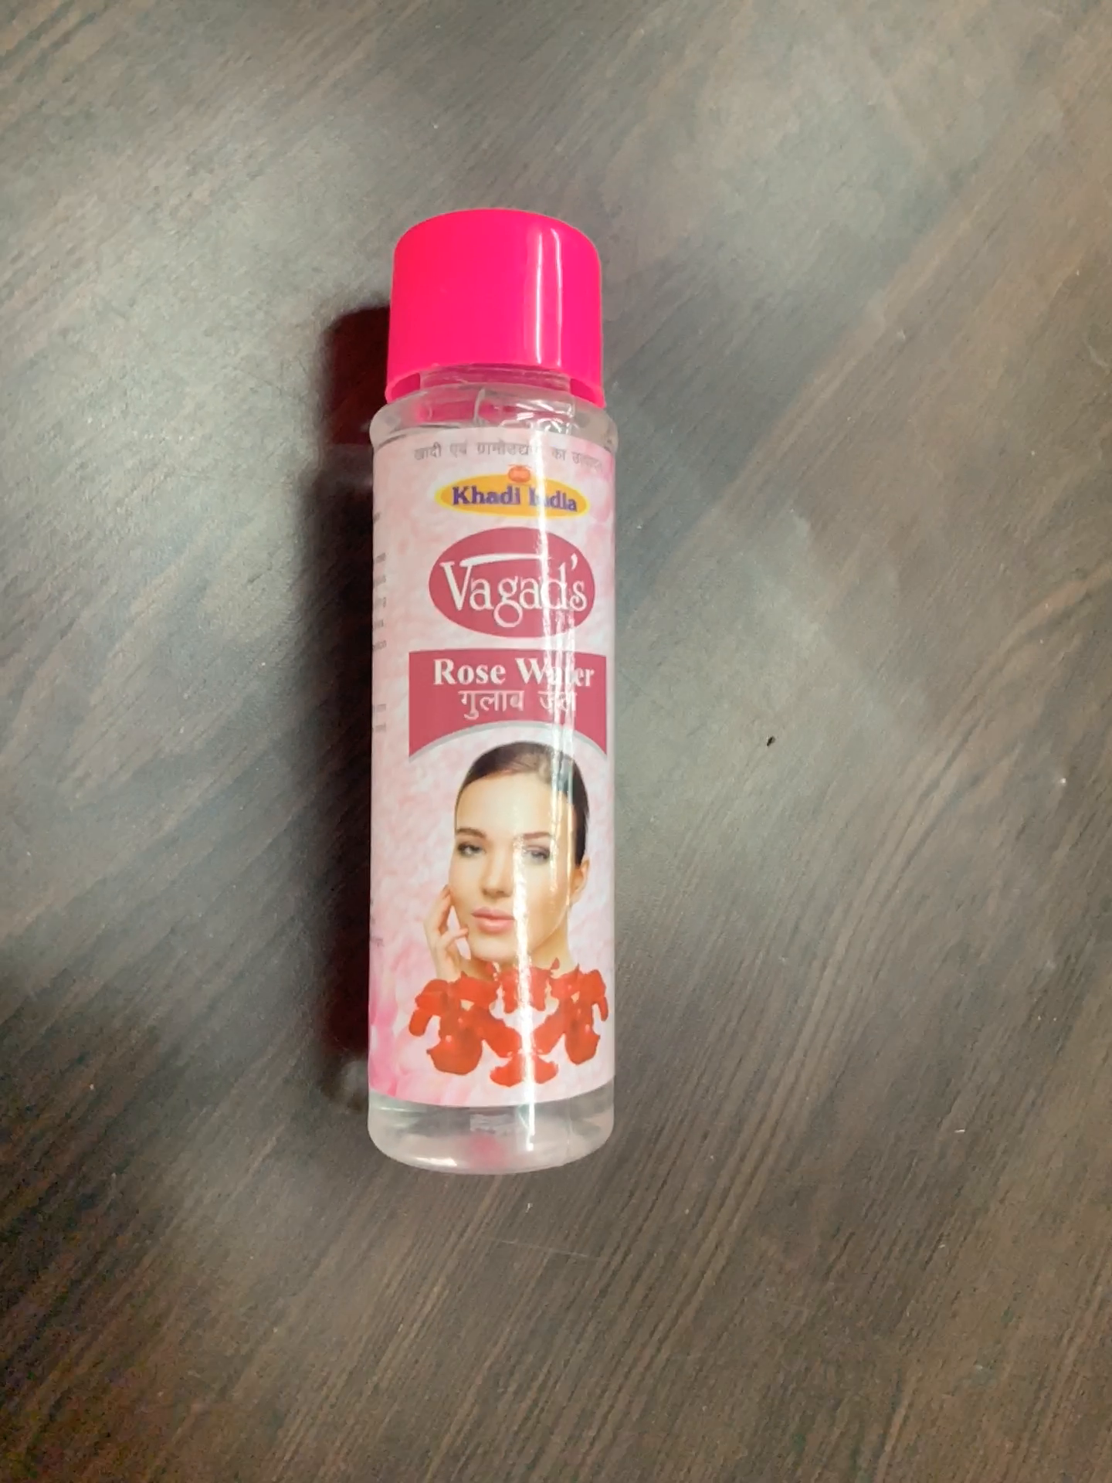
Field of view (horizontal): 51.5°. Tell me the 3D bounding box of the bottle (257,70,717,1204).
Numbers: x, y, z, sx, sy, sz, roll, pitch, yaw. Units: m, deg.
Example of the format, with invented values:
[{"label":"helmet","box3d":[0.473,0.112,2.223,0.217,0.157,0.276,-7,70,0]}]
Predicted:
[{"label":"bottle","box3d":[-0.012,-0.012,0.171,0.050,0.040,0.140,3,90,-26]}]
